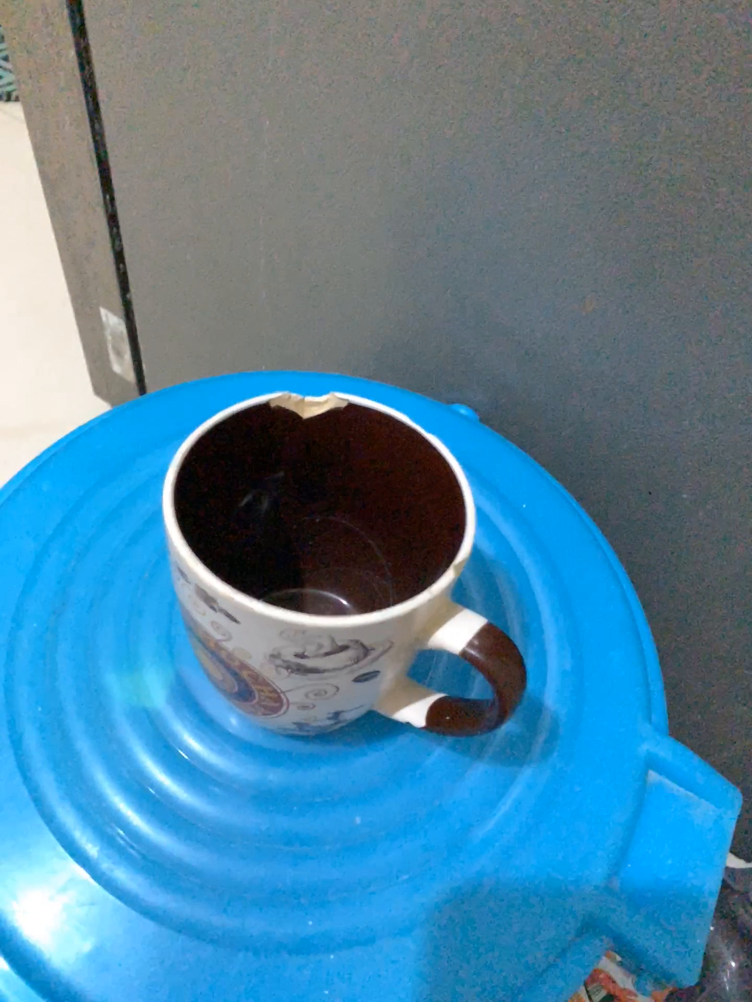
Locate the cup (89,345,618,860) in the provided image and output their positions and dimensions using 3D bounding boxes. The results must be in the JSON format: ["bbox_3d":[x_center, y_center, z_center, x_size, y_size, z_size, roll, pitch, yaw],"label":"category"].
[{"bbox_3d":[-0.008,0.028,0.220,0.109,0.082,0.071,28,51,13],"label":"cup"}]
